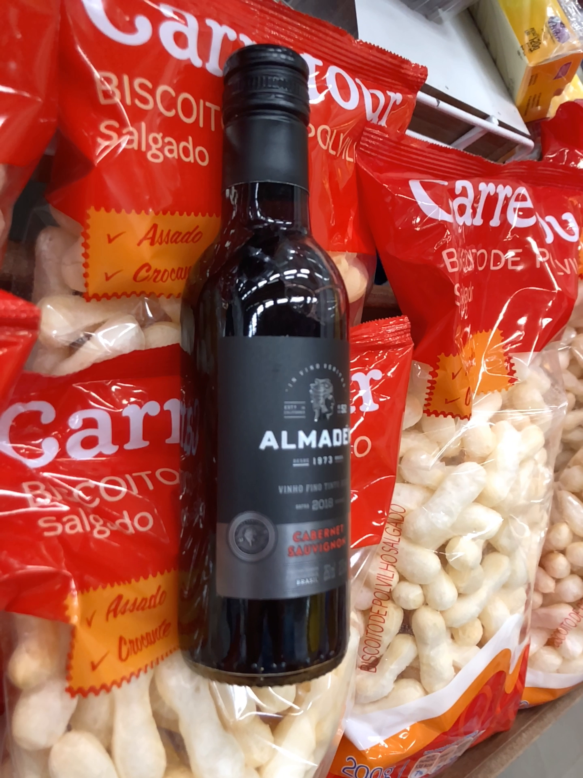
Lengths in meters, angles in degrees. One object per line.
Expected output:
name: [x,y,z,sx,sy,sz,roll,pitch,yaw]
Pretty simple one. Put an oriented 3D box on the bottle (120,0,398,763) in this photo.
bottle: [-0.014,-0.022,0.216,0.060,0.060,0.240,3,83,-43]
